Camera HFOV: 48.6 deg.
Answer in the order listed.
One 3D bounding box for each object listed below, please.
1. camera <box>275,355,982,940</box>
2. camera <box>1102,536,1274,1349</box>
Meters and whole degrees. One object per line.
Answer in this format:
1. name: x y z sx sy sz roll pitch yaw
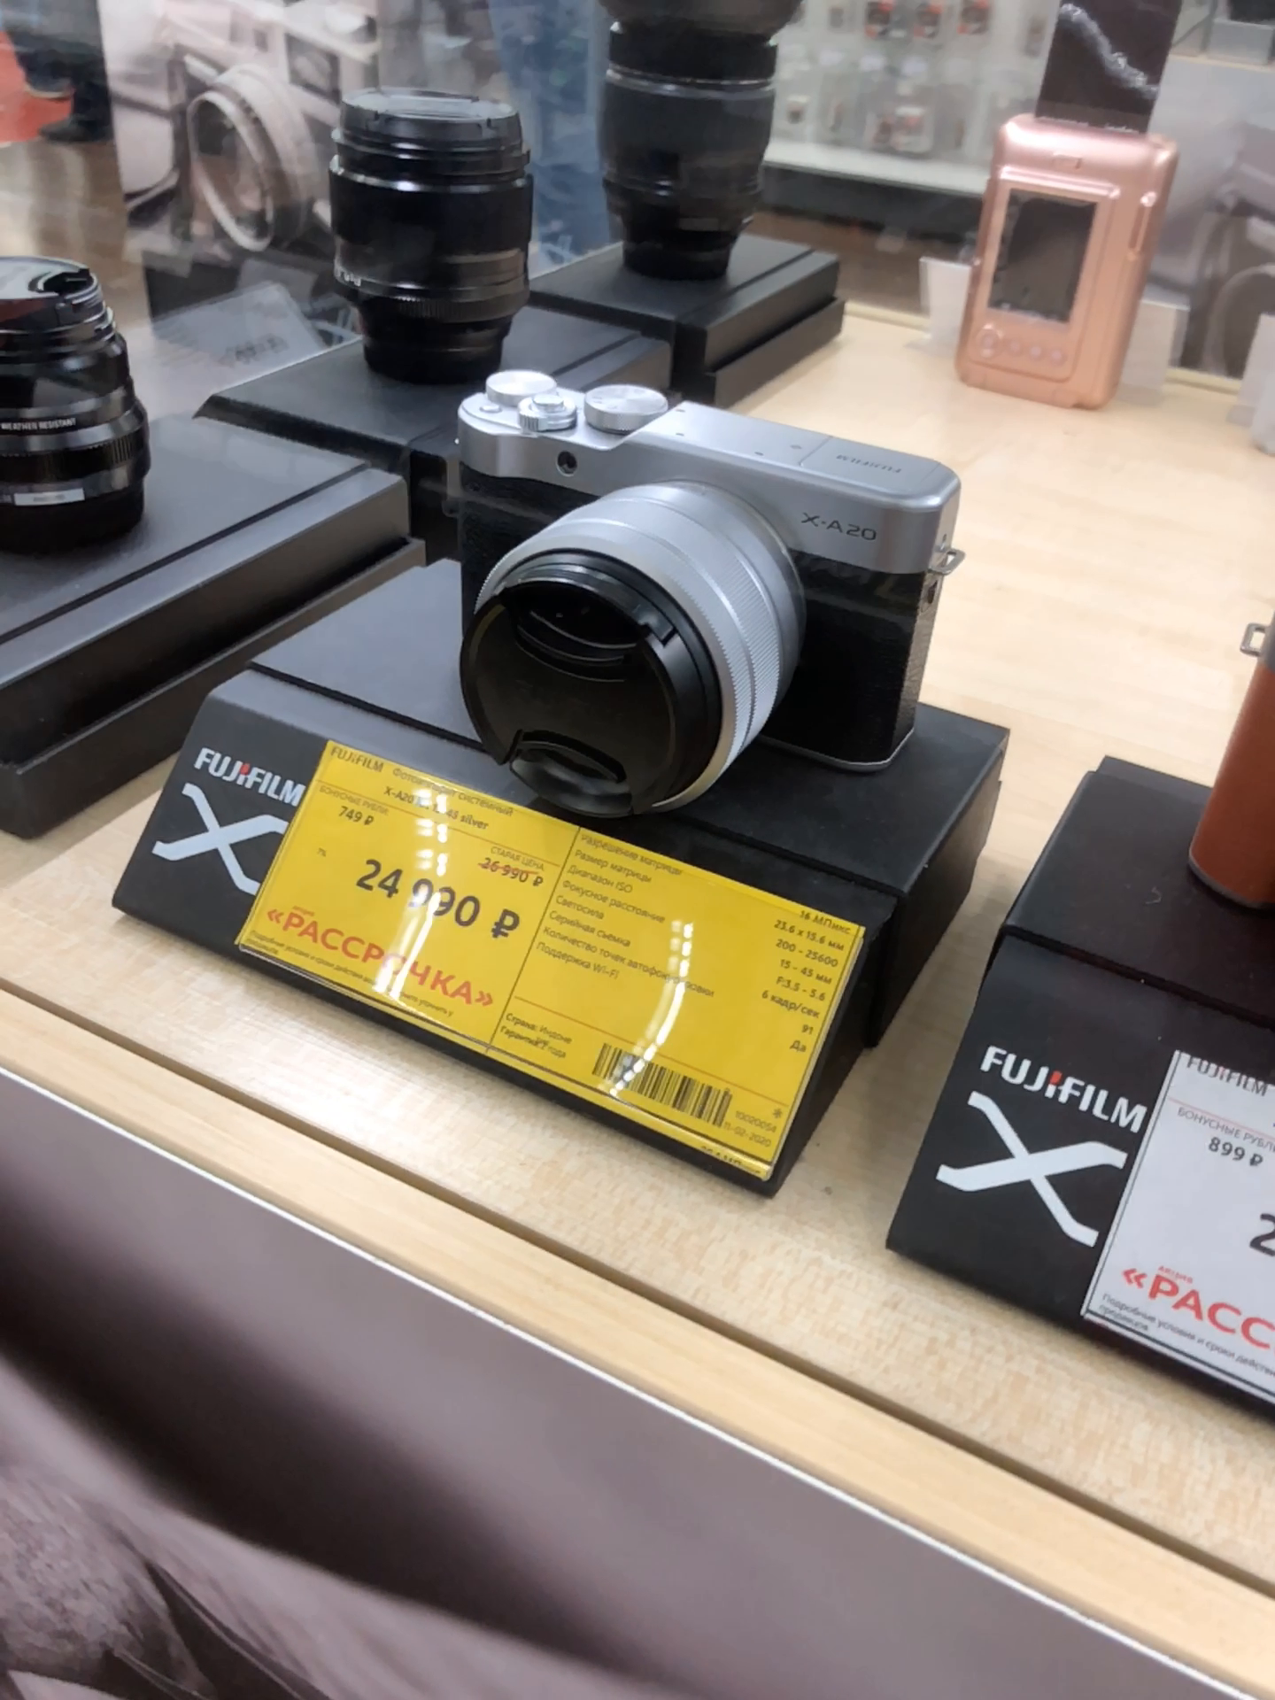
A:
1. camera: -0.002 -0.052 0.315 0.120 0.072 0.088 20 37 21
2. camera: 0.168 0.007 0.256 0.128 0.072 0.088 20 37 21
